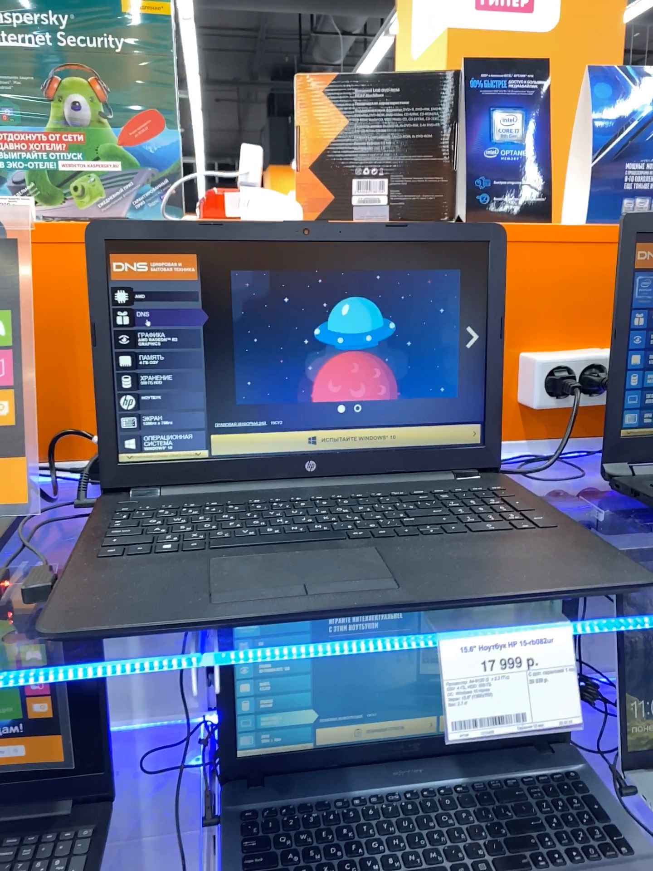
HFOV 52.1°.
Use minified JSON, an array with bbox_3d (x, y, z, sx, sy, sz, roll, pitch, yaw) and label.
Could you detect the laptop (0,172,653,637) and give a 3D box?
[{"bbox_3d":[0.001,-0.044,0.493,0.369,0.231,0.272,-2,13,-10],"label":"laptop"}]
